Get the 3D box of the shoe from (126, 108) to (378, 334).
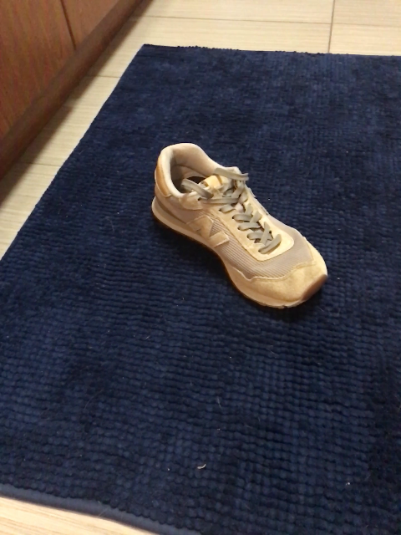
[{"bbox_3d":[0.048,-0.073,0.536,0.130,0.099,0.281,-33,55,-22],"label":"shoe"}]
